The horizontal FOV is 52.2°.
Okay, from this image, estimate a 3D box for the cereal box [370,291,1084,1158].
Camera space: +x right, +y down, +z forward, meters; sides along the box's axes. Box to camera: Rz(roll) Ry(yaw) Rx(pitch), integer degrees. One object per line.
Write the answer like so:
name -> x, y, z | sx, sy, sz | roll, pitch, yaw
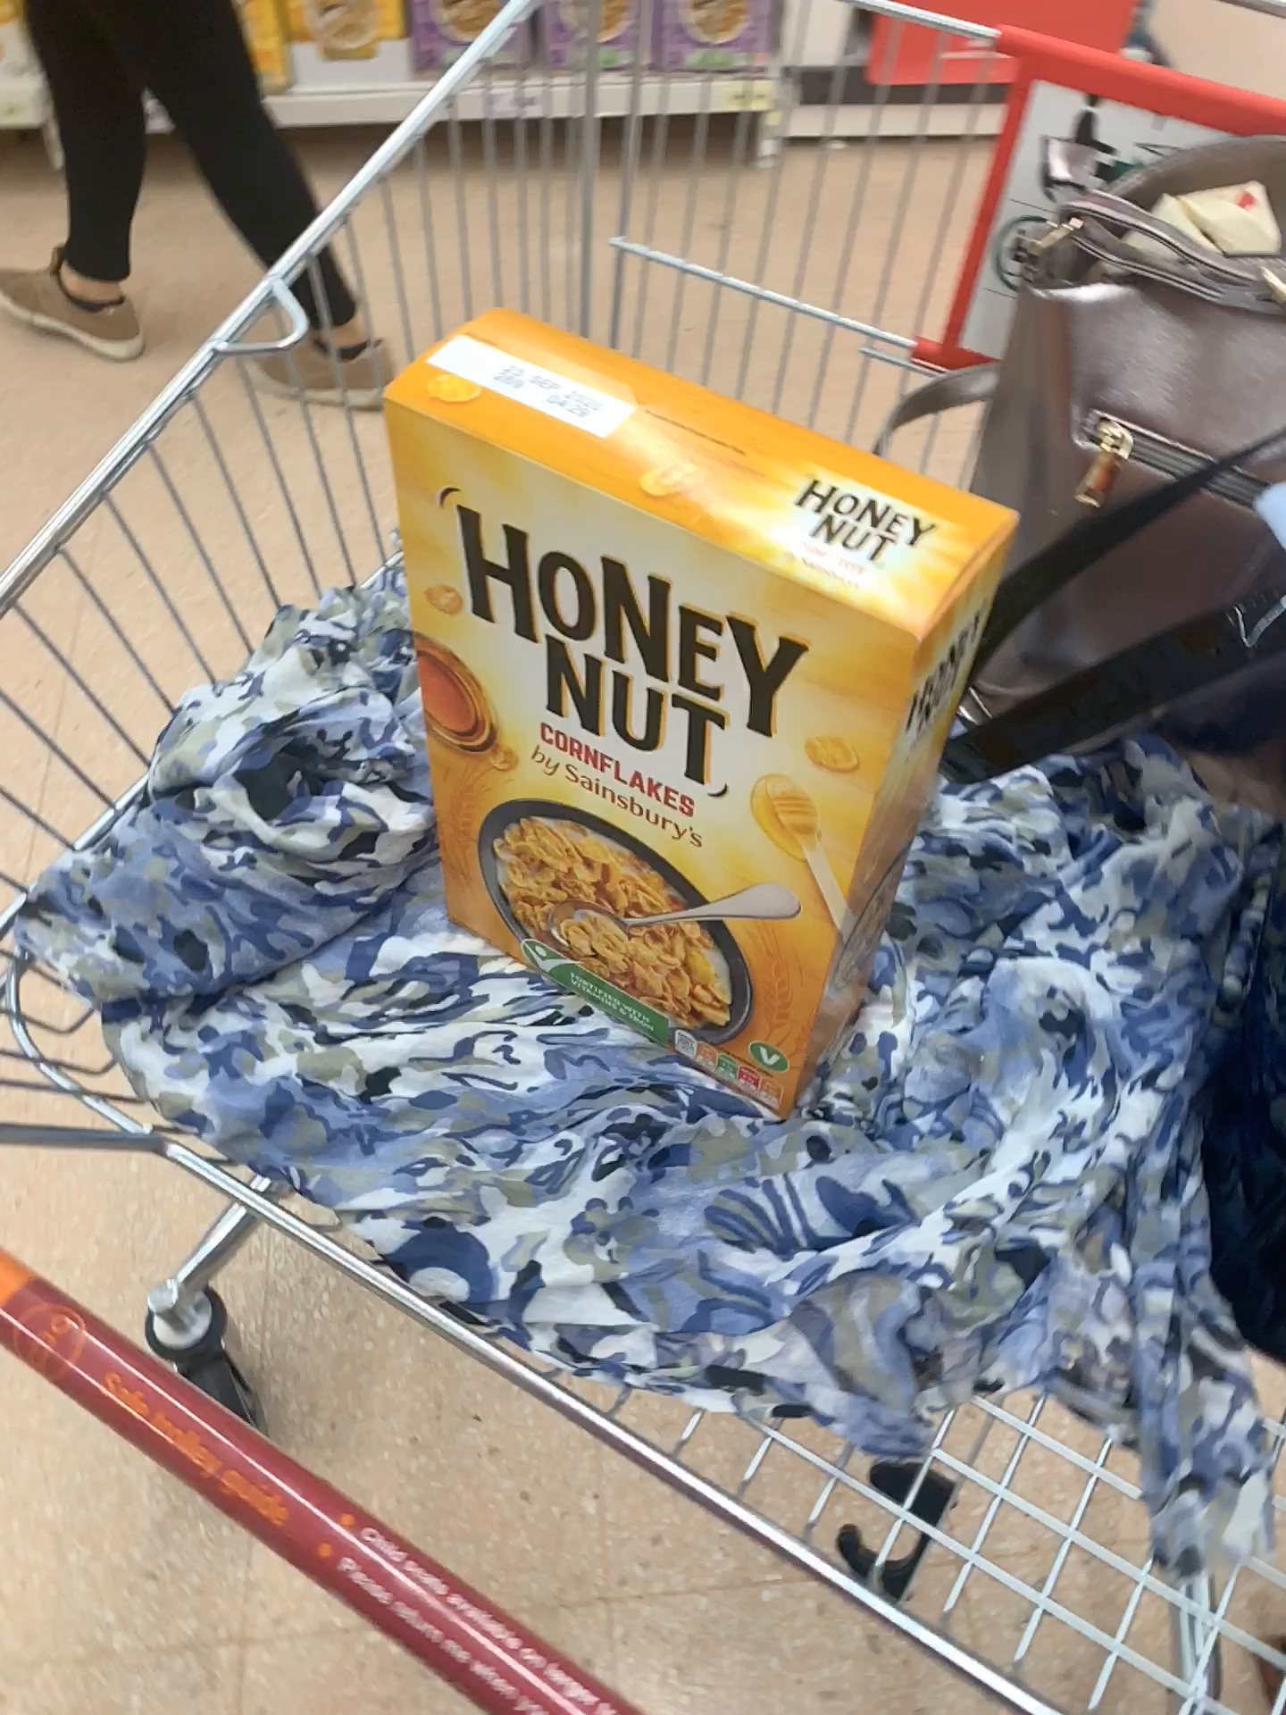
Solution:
cereal box -> 0.015, -0.033, 0.522 | 0.211, 0.297, 0.080 | 28, 55, 18
